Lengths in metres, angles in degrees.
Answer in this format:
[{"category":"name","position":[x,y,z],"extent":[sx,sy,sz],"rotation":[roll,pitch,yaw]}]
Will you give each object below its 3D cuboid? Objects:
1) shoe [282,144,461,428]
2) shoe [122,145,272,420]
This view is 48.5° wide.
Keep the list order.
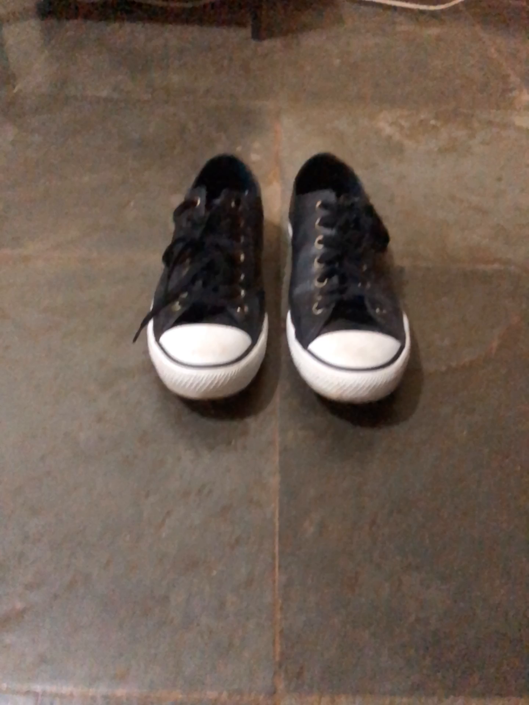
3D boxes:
[{"category":"shoe","position":[0.076,-0.081,0.535],"extent":[0.110,0.079,0.312],"rotation":[1,44,-2]},{"category":"shoe","position":[-0.047,-0.080,0.524],"extent":[0.100,0.079,0.292],"rotation":[1,44,-2]}]
